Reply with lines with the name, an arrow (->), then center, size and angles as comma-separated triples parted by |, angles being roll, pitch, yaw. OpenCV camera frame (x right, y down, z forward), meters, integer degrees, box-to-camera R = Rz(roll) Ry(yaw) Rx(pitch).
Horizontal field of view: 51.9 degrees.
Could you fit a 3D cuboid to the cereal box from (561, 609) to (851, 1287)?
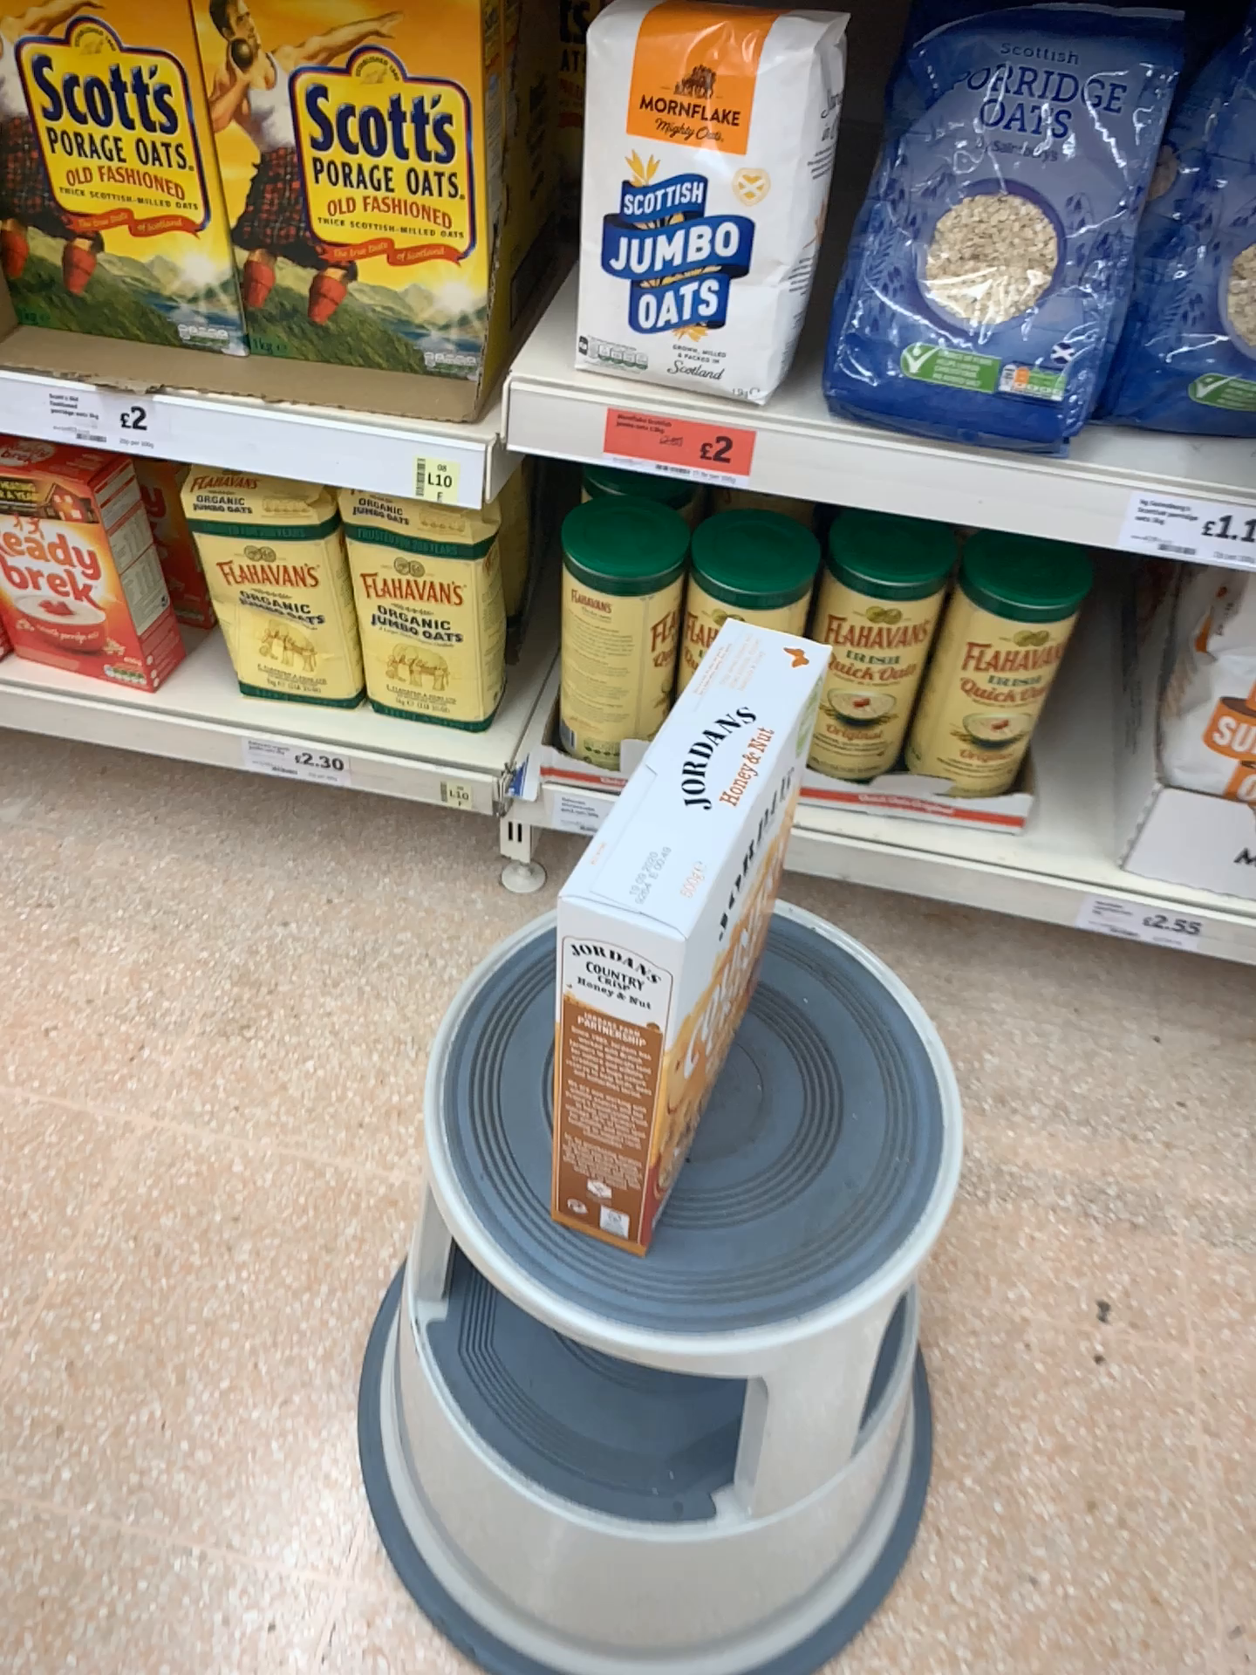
cereal box -> 0.031, 0.057, 0.586 | 0.050, 0.258, 0.181 | 18, 47, 13
